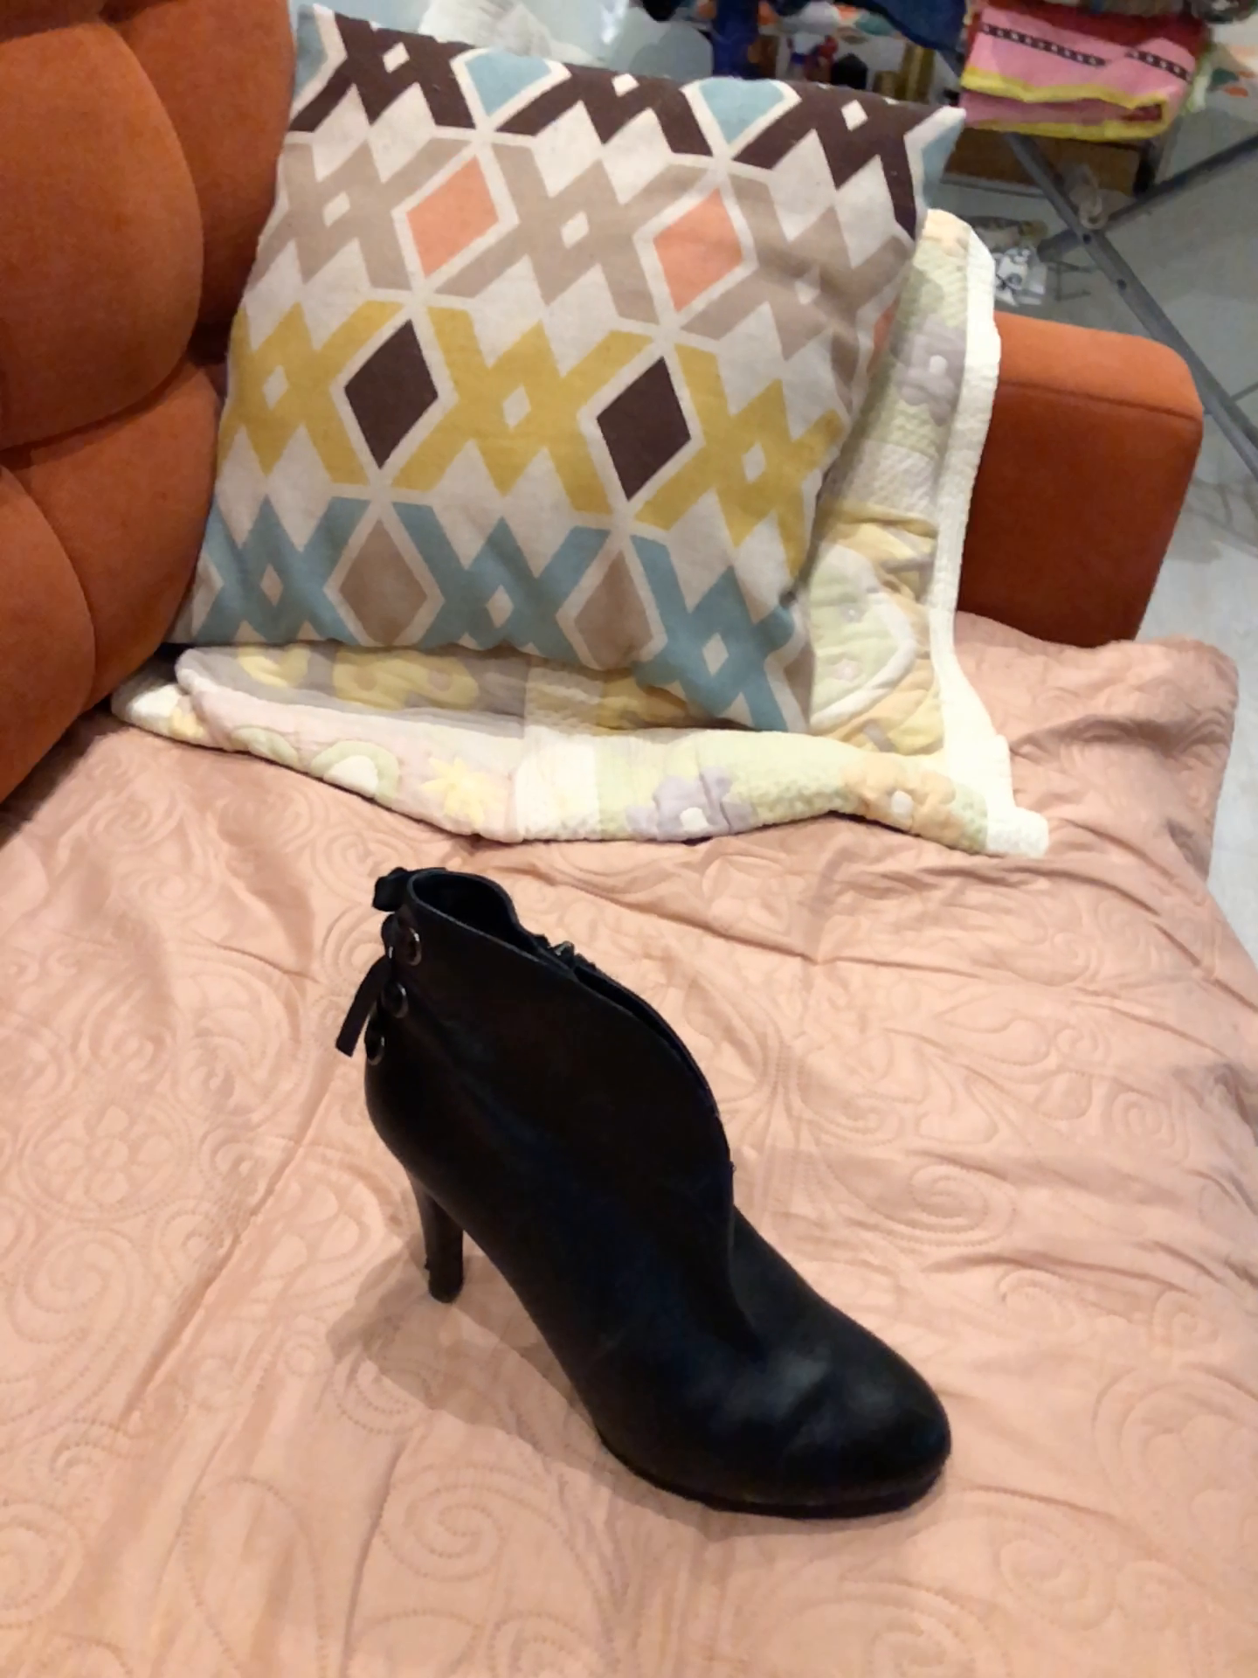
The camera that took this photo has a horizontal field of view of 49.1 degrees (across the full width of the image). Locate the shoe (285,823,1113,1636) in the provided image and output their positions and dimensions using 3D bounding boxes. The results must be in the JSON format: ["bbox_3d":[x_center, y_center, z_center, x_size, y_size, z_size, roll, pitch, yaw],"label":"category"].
[{"bbox_3d":[0.014,0.121,0.444,0.220,0.169,0.096,18,37,15],"label":"shoe"}]
